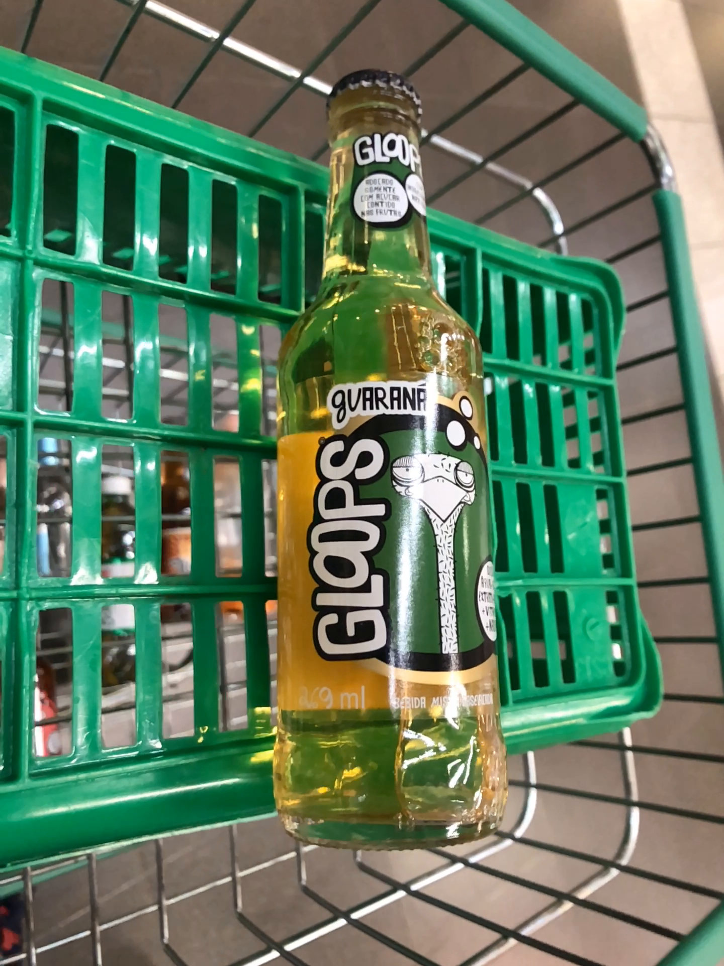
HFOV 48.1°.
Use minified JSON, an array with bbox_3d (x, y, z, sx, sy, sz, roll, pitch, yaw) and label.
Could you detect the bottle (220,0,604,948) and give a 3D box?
[{"bbox_3d":[0.011,-0.015,0.214,0.070,0.060,0.220,7,77,-38],"label":"bottle"}]
